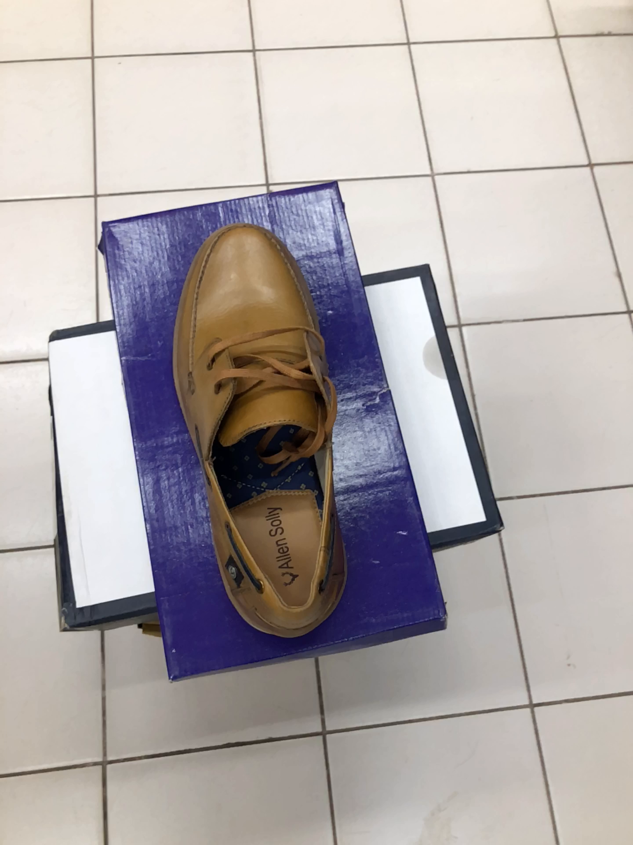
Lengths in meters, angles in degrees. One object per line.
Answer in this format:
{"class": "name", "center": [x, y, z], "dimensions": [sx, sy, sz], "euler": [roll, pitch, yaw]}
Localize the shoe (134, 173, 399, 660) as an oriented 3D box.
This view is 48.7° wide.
{"class": "shoe", "center": [-0.035, -0.002, 0.428], "dimensions": [0.100, 0.110, 0.260], "euler": [-10, 74, -6]}
